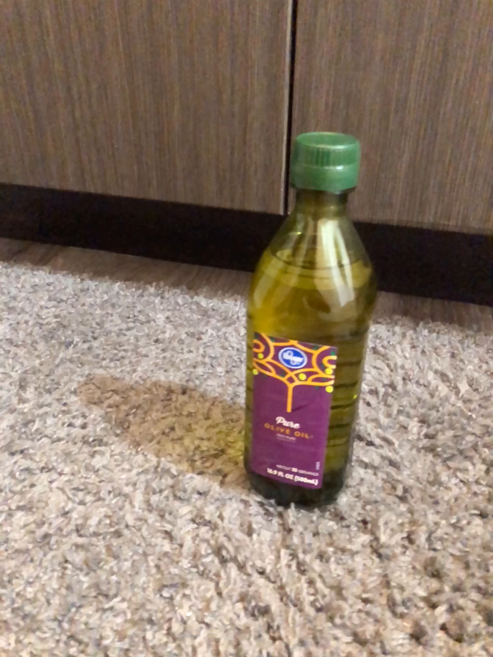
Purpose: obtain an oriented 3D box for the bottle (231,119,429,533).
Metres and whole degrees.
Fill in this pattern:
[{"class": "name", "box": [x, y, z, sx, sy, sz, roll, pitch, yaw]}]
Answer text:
[{"class": "bottle", "box": [0.038, 0.006, 0.293, 0.070, 0.209, 0.060, 14, 35, 21]}]
